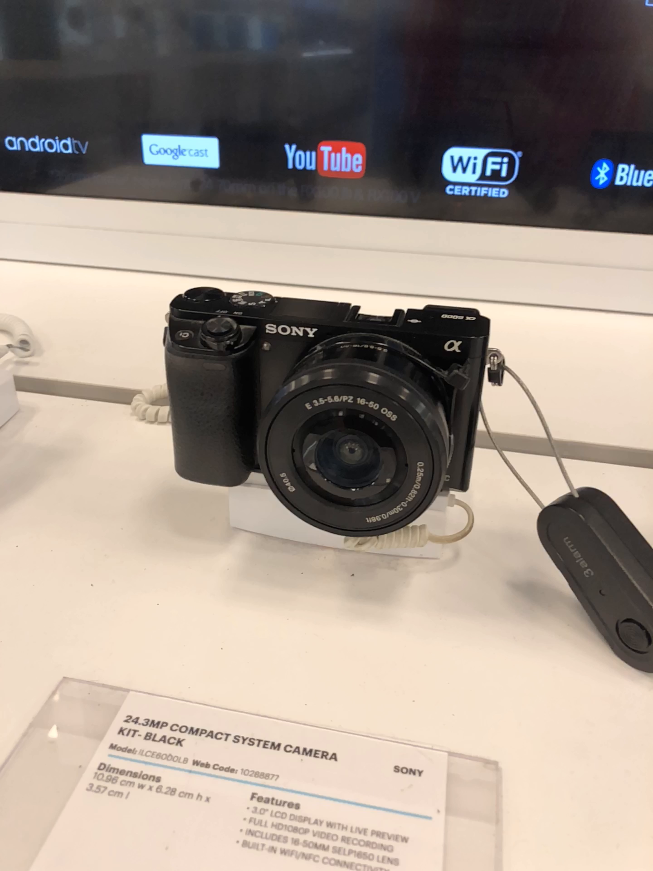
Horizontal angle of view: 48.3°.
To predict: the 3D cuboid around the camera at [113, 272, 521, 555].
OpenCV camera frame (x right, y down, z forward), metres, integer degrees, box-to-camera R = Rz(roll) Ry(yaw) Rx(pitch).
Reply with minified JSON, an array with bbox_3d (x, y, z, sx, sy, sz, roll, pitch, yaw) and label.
[{"bbox_3d":[0.000,-0.013,0.274,0.130,0.070,0.070,6,29,9],"label":"camera"}]
